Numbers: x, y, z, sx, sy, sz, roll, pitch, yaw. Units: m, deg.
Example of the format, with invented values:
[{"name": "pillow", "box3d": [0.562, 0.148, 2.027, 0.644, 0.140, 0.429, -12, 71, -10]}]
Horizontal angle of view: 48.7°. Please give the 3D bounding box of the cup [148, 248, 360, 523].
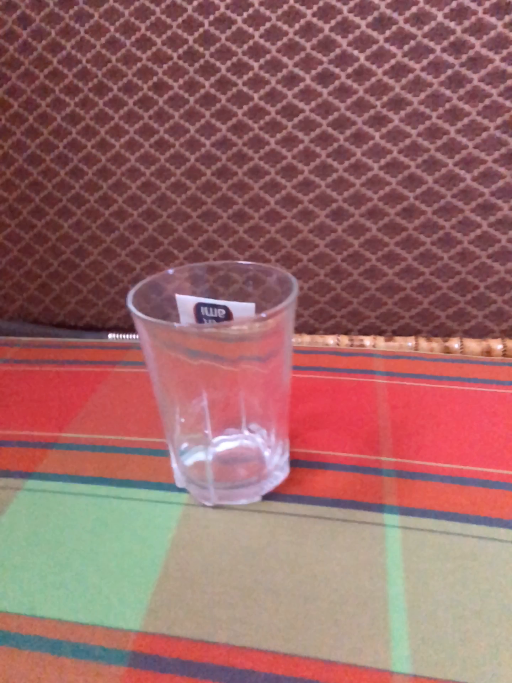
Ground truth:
[{"name": "cup", "box3d": [-0.004, 0.014, 0.235, 0.070, 0.080, 0.070, -2, 29, 1]}]
